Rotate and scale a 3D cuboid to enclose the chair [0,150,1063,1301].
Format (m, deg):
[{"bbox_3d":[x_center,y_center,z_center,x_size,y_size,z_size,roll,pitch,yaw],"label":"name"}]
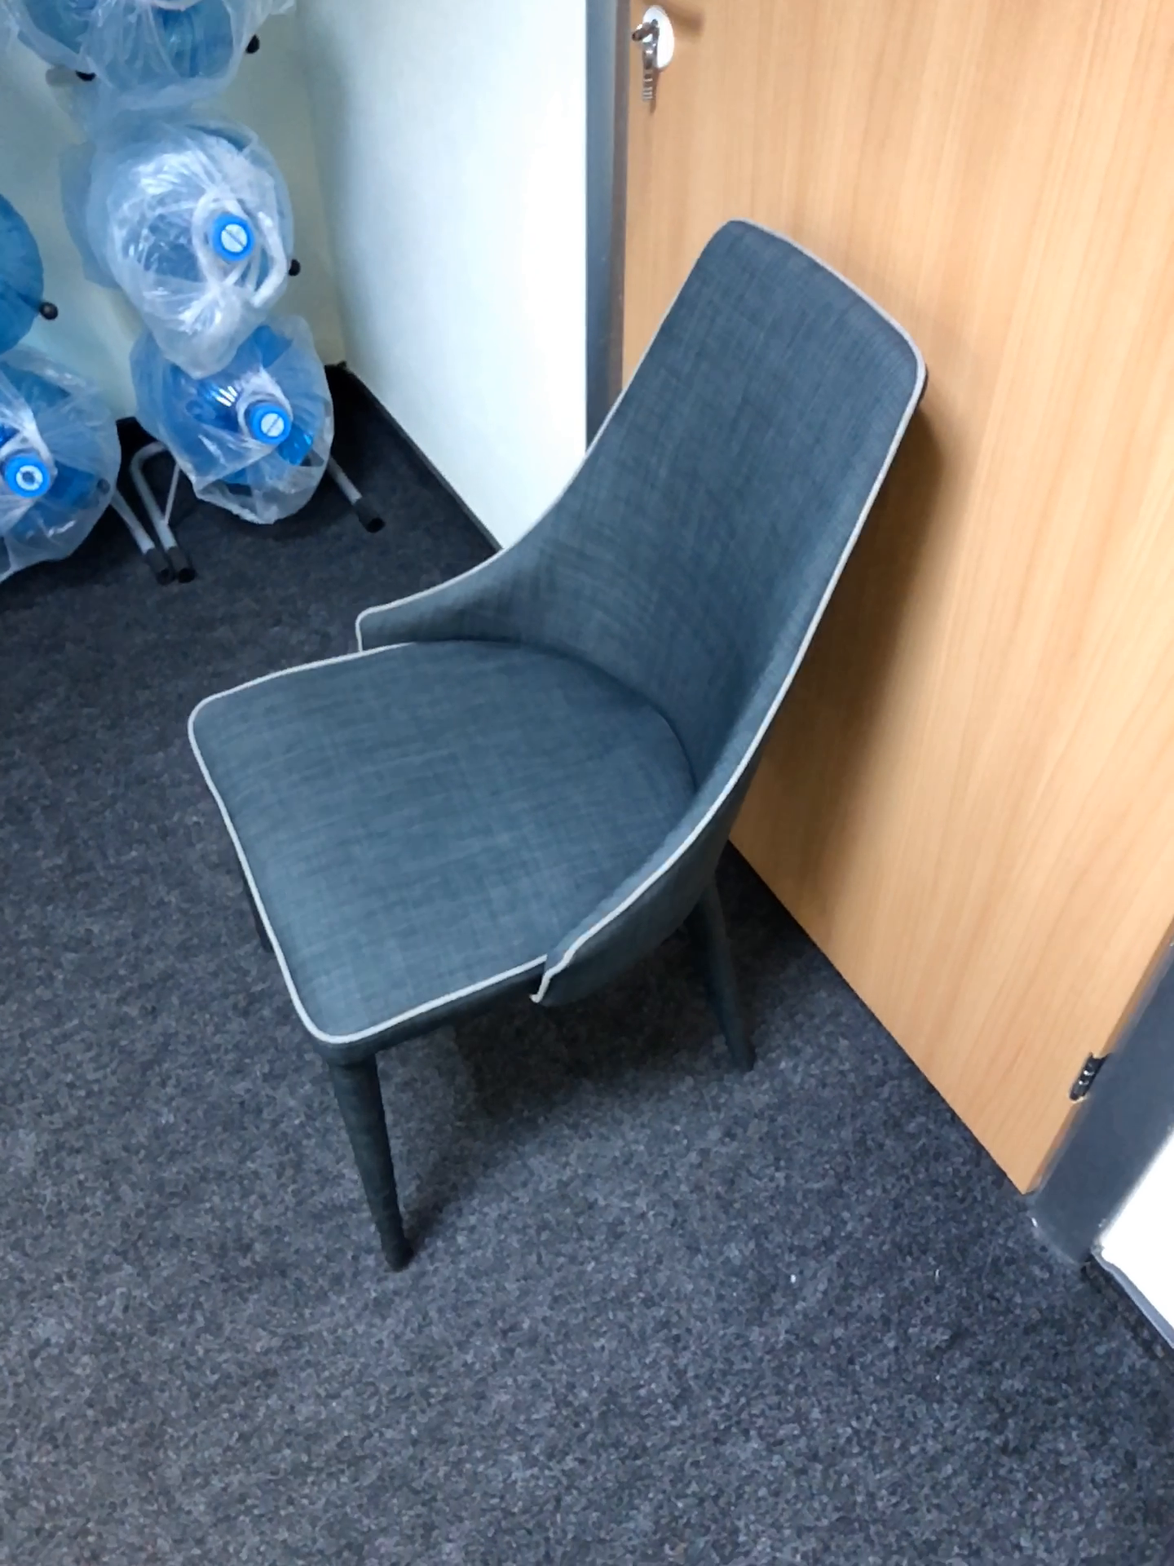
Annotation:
[{"bbox_3d":[-0.069,-0.036,1.268,0.641,0.845,0.522,-20,50,-18],"label":"chair"}]
